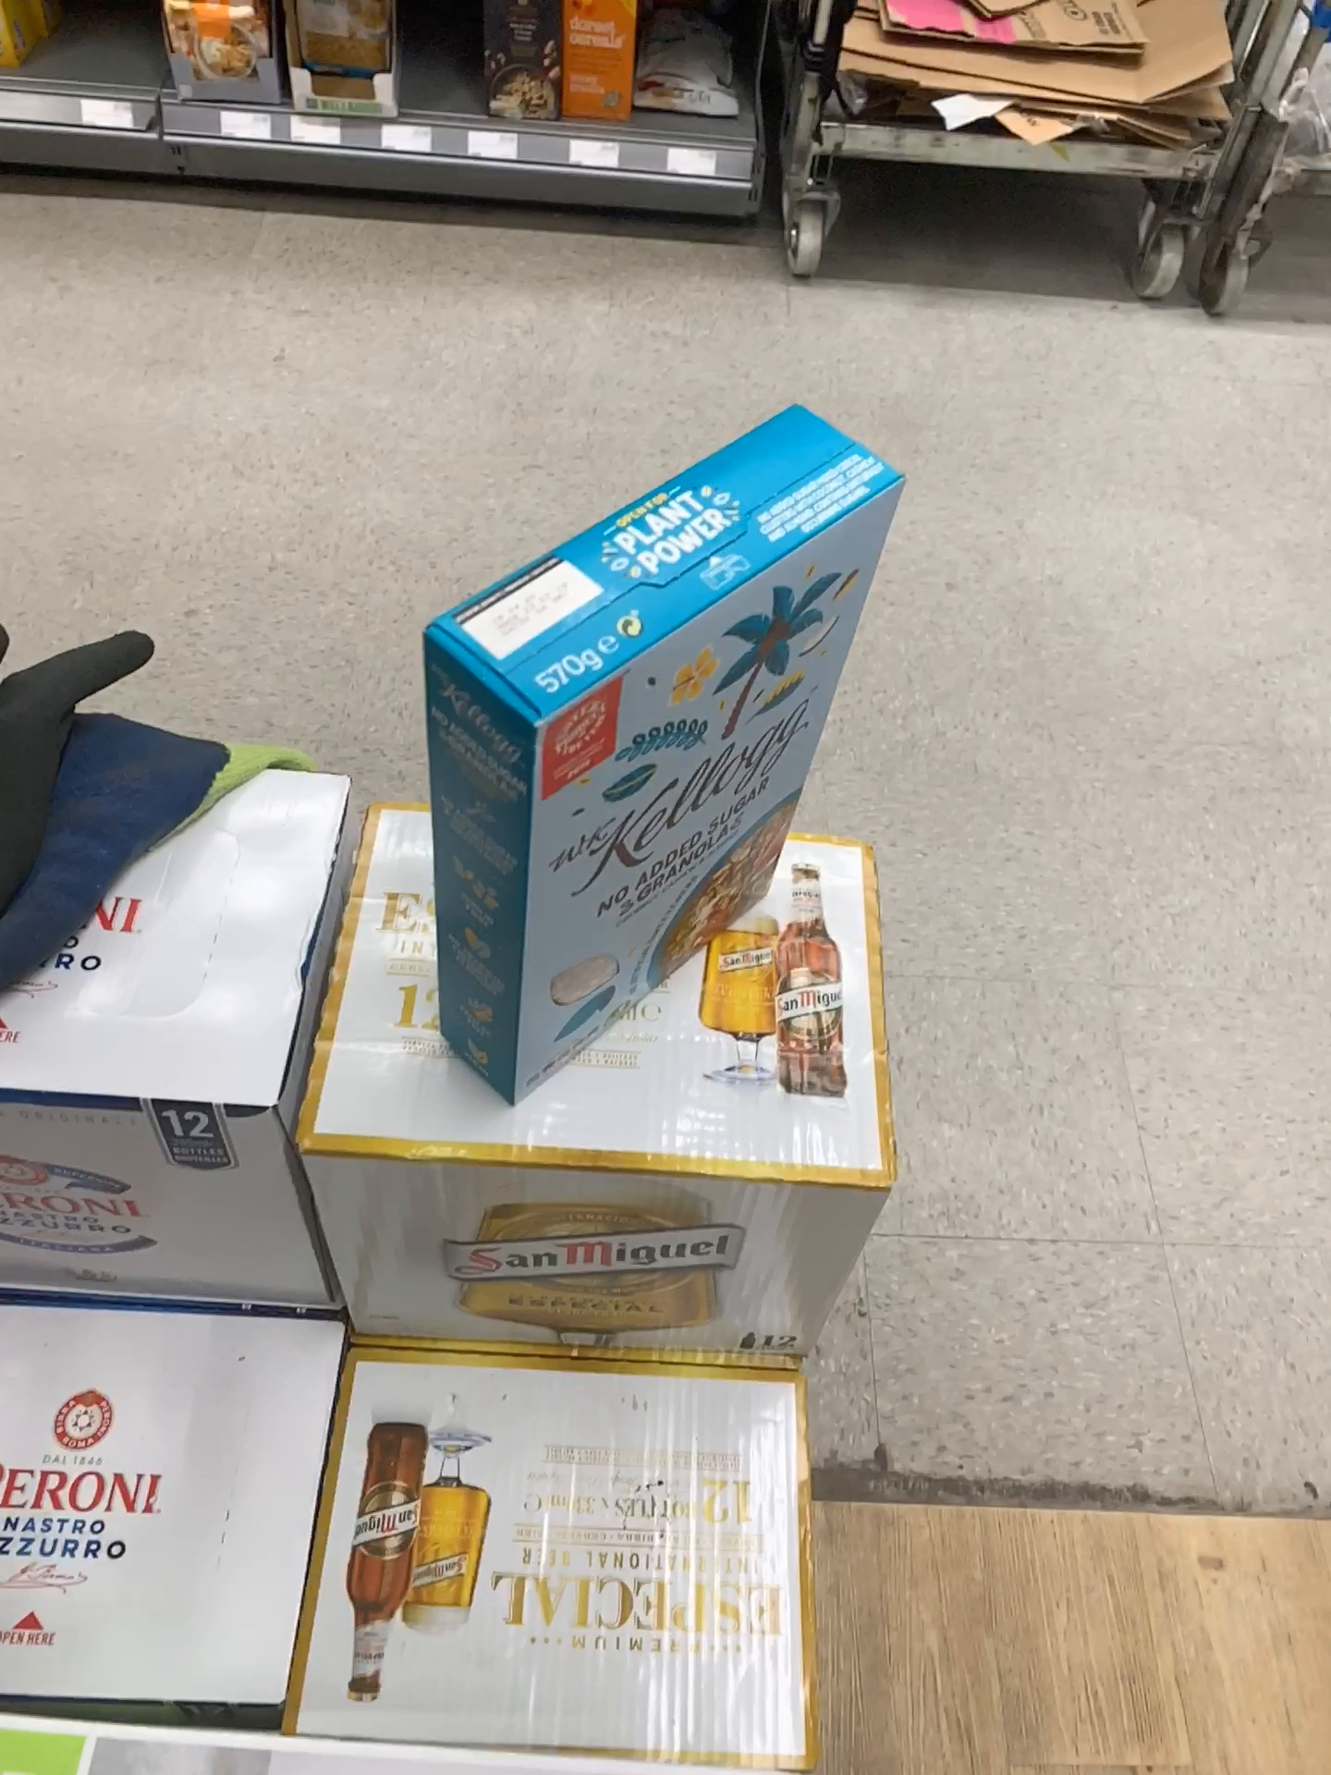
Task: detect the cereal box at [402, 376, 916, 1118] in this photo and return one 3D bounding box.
[{"bbox_3d":[-0.011,-0.035,0.492,0.050,0.248,0.161,41,61,18],"label":"cereal box"}]
